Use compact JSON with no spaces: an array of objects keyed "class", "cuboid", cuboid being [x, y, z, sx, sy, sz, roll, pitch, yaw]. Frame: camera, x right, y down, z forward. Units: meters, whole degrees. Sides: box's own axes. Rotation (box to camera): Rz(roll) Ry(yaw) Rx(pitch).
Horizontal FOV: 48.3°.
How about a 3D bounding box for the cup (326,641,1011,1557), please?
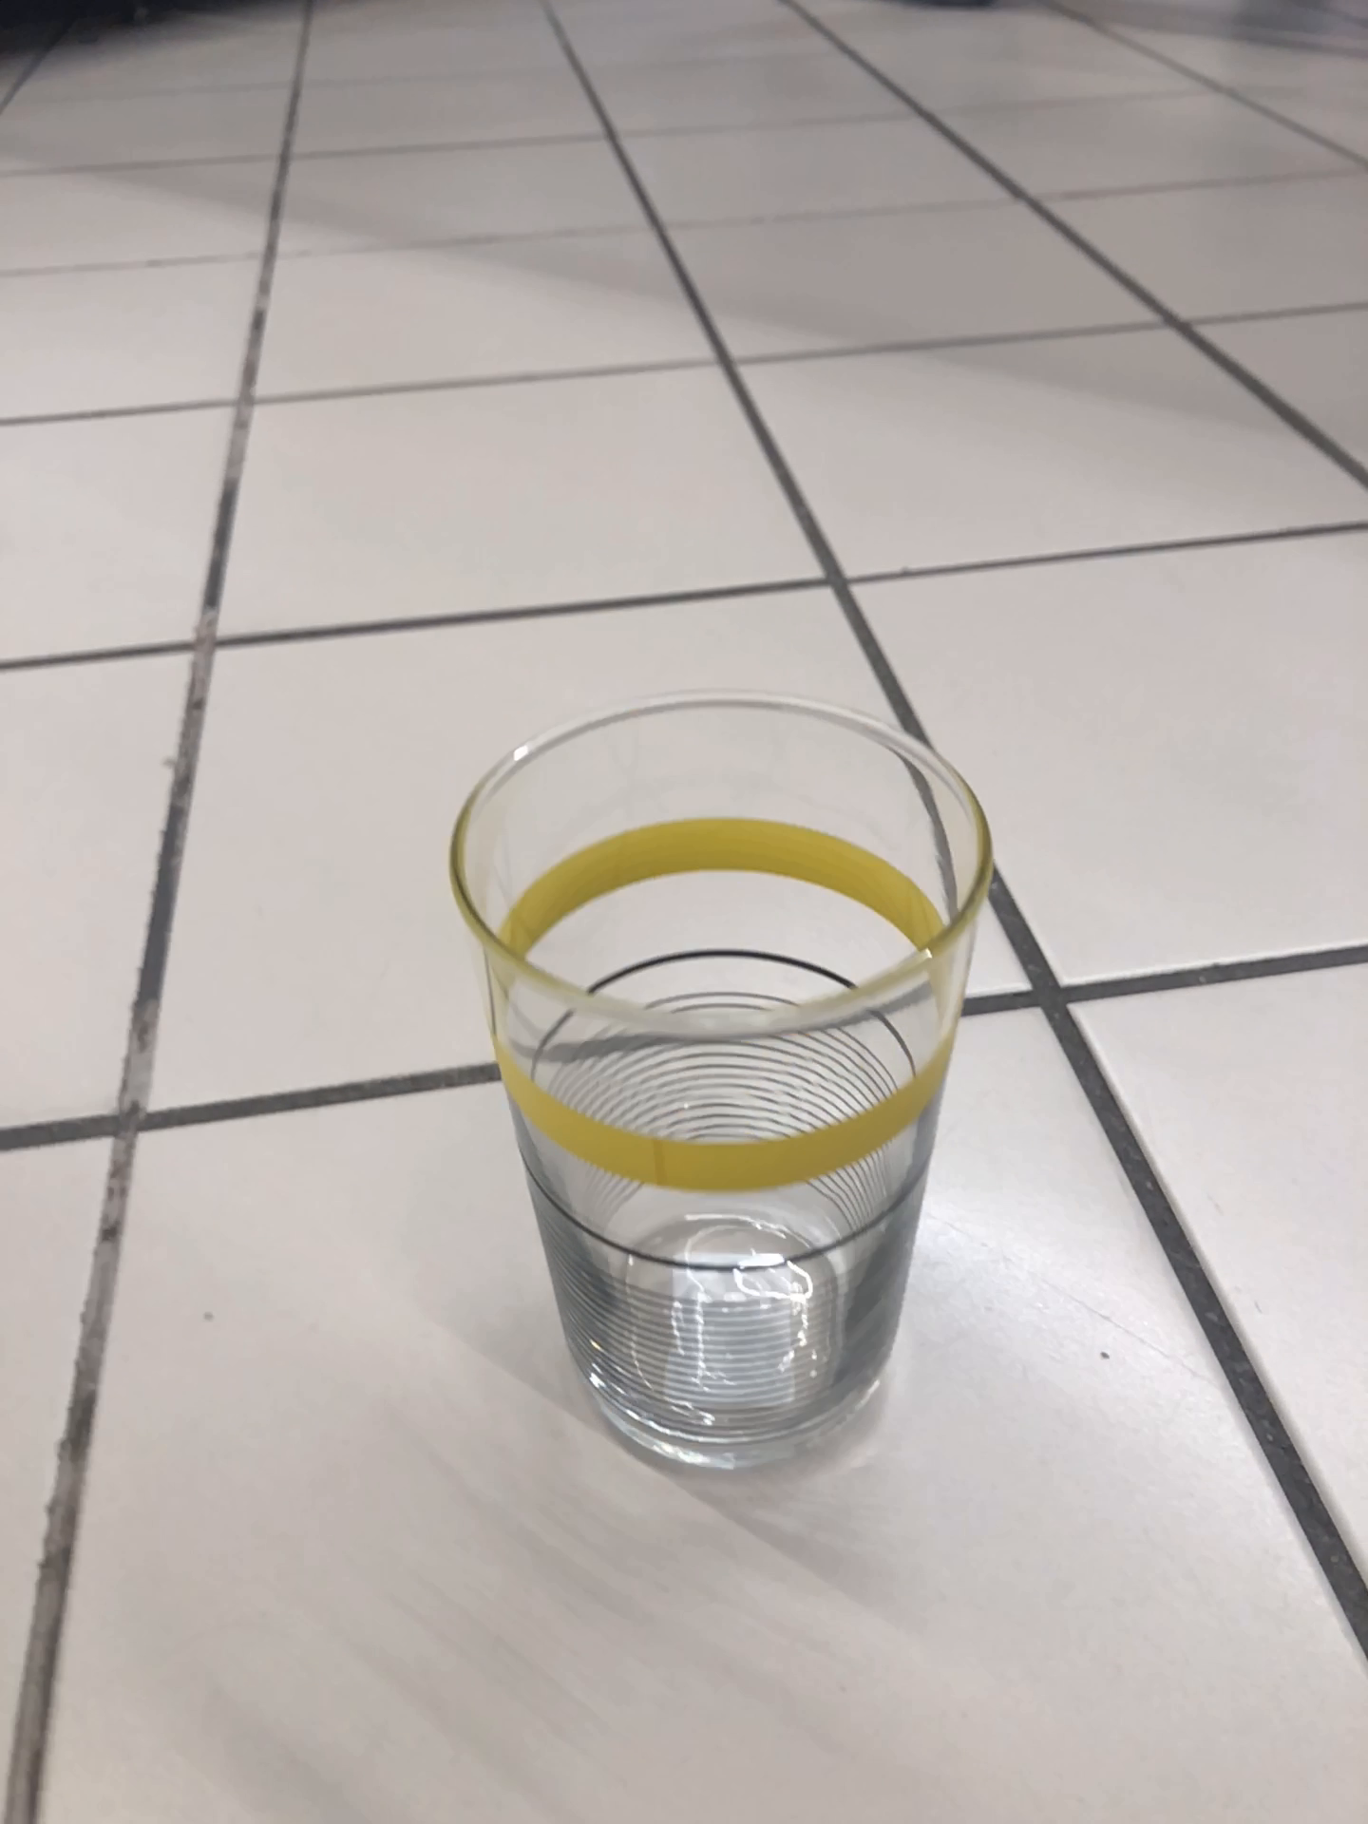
[{"class":"cup","cuboid":[0.005,0.030,0.243,0.076,0.114,0.080,-1,42,1]}]
